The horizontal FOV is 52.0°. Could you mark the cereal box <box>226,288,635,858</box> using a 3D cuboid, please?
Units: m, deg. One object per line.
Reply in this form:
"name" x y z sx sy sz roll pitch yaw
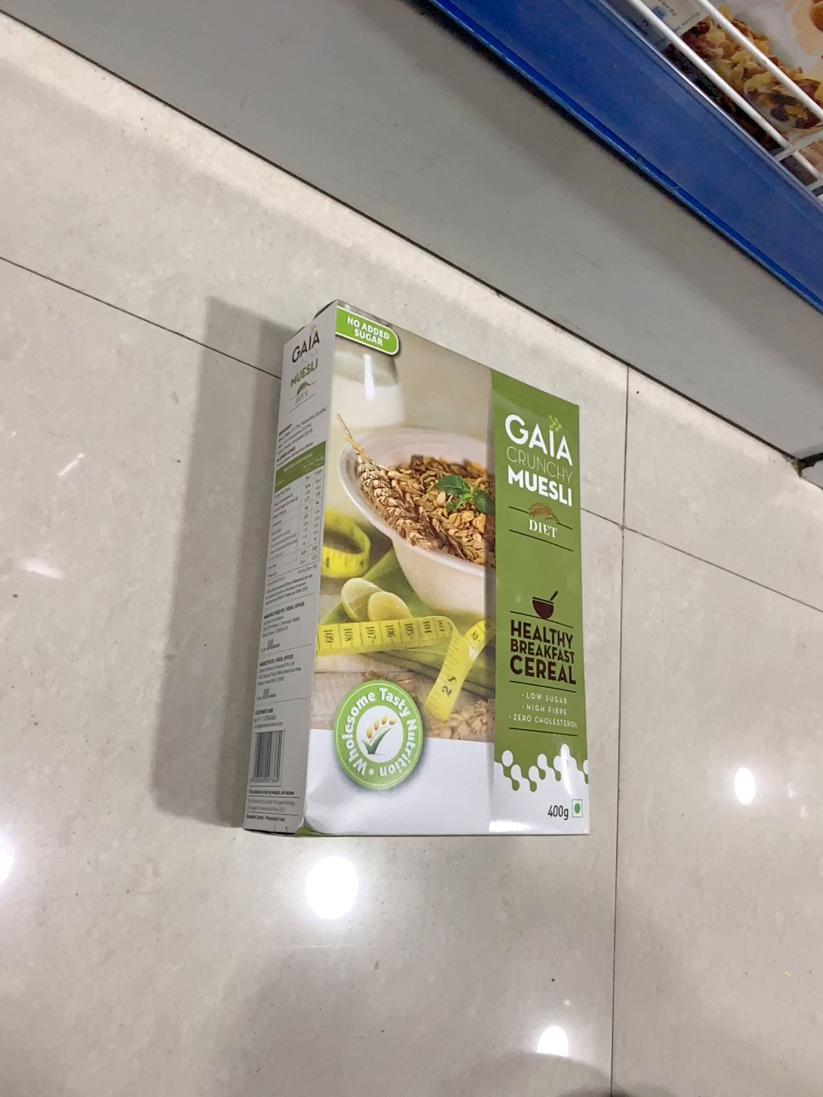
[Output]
"cereal box" 0.019 0.022 0.411 0.181 0.070 0.230 13 72 -35
